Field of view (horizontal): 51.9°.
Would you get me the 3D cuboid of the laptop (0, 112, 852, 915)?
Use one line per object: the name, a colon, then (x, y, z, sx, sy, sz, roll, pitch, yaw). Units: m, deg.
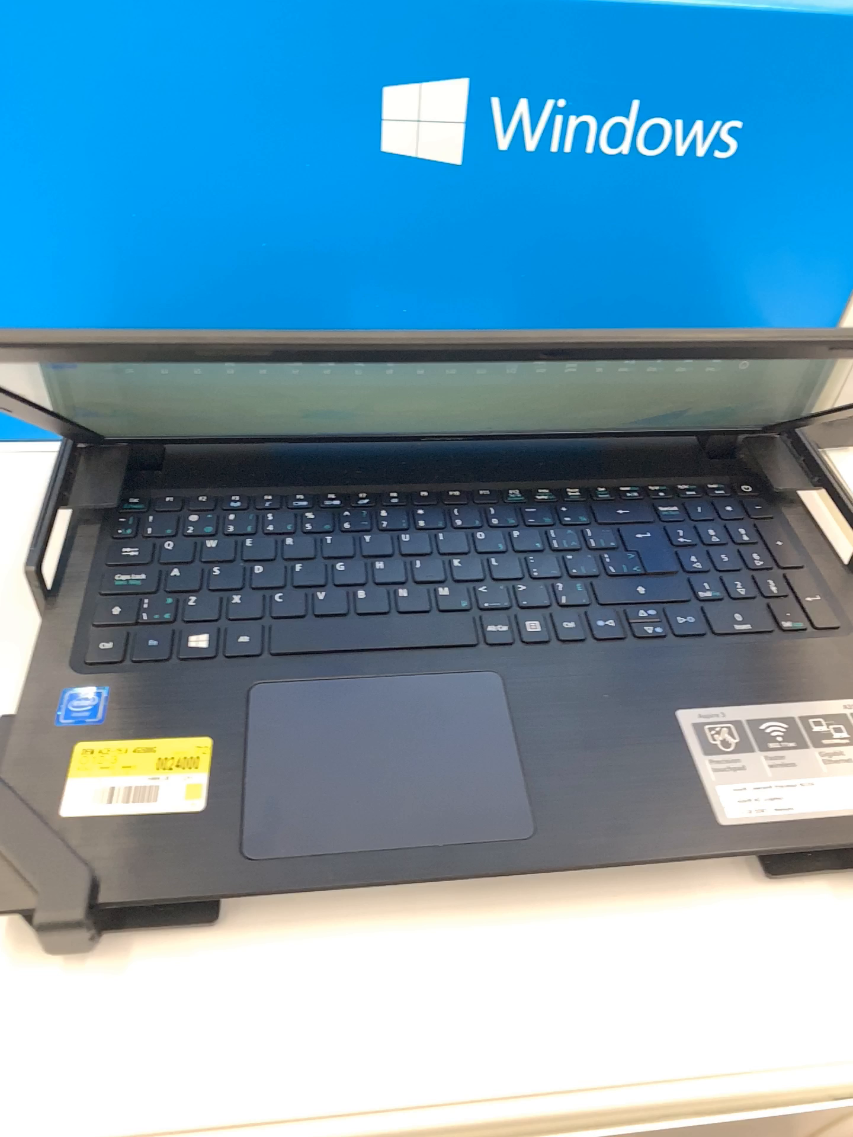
laptop: (0.026, -0.038, 0.309, 0.344, 0.147, 0.227, -2, 45, -8)
